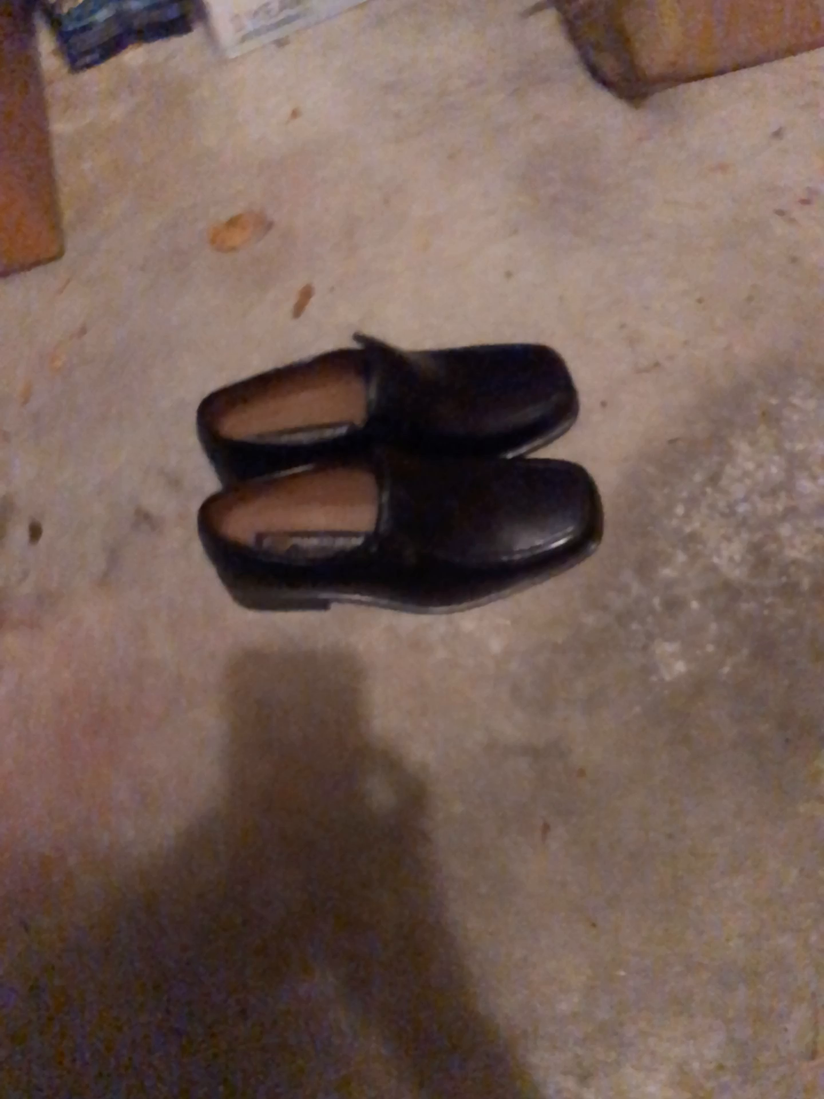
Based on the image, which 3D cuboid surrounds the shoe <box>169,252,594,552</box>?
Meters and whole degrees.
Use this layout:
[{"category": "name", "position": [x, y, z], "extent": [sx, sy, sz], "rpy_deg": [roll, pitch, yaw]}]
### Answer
[{"category": "shoe", "position": [-0.019, -0.101, 0.661], "extent": [0.269, 0.113, 0.104], "rpy_deg": [-15, 66, 0]}]

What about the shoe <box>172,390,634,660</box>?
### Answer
[{"category": "shoe", "position": [-0.006, -0.011, 0.622], "extent": [0.279, 0.113, 0.101], "rpy_deg": [-10, 66, 3]}]
